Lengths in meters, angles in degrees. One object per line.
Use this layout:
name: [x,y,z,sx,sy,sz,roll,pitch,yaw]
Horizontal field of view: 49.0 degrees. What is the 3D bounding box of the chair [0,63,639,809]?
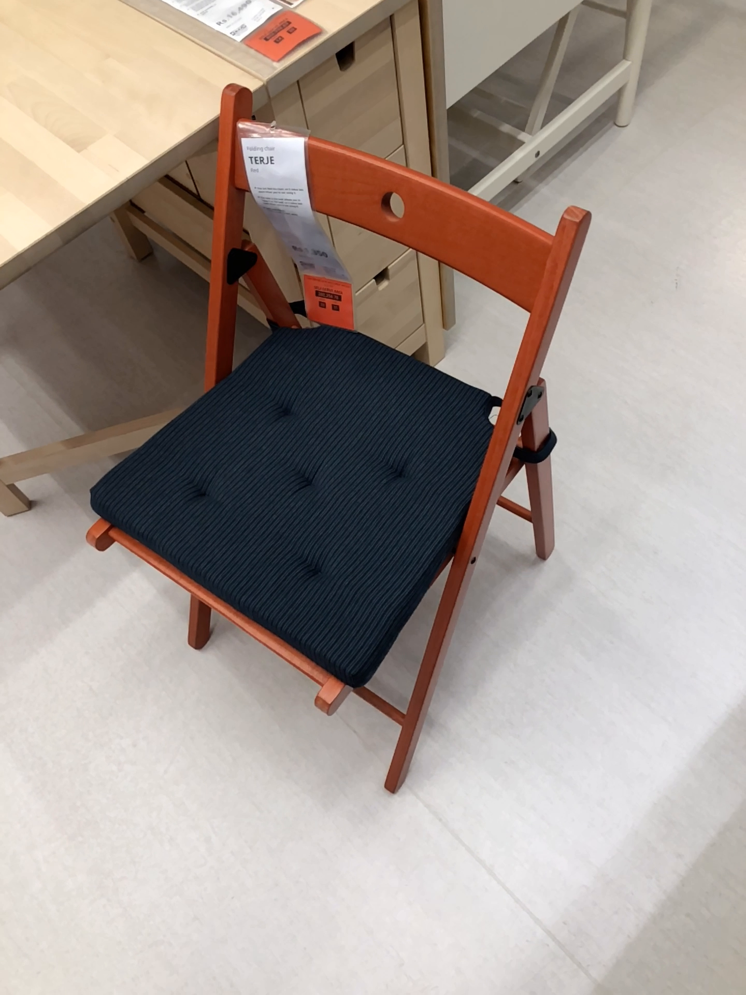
chair: [-0.051,-0.018,1.054,0.471,0.717,0.501,31,69,23]
